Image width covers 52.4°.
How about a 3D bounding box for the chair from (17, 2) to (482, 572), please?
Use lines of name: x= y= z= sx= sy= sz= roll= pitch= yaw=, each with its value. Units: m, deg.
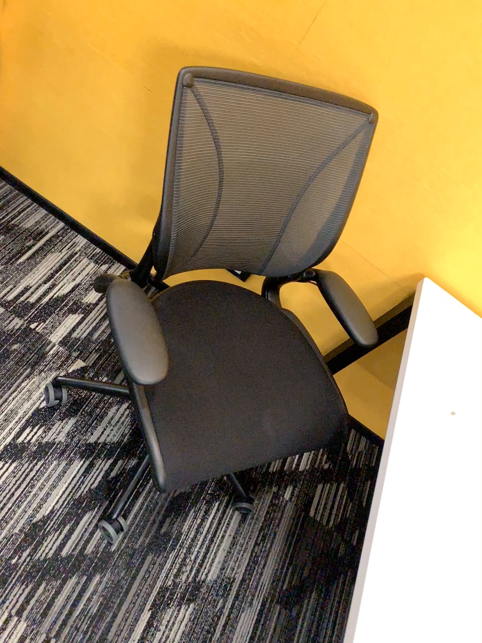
chair: x=-0.029 y=0.034 z=0.937 sx=0.543 sy=0.814 sz=0.571 roll=-10 pitch=67 yaw=-35
